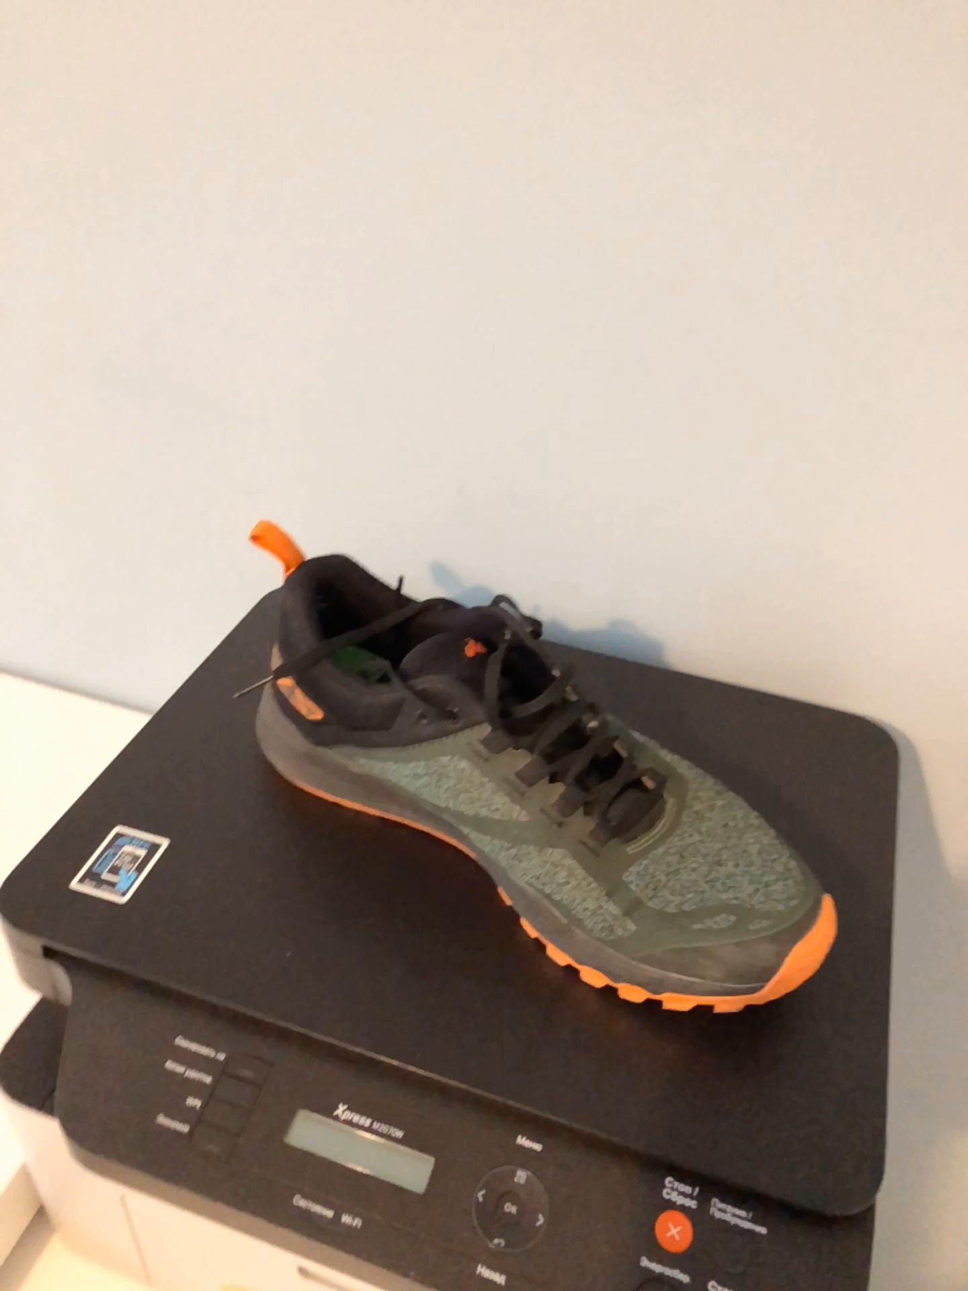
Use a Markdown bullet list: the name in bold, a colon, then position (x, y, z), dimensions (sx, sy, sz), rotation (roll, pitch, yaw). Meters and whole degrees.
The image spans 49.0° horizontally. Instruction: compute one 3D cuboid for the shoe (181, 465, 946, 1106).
- **shoe**: position (0.019, 0.041, 0.486), dimensions (0.311, 0.119, 0.121), rotation (26, 43, 27)
